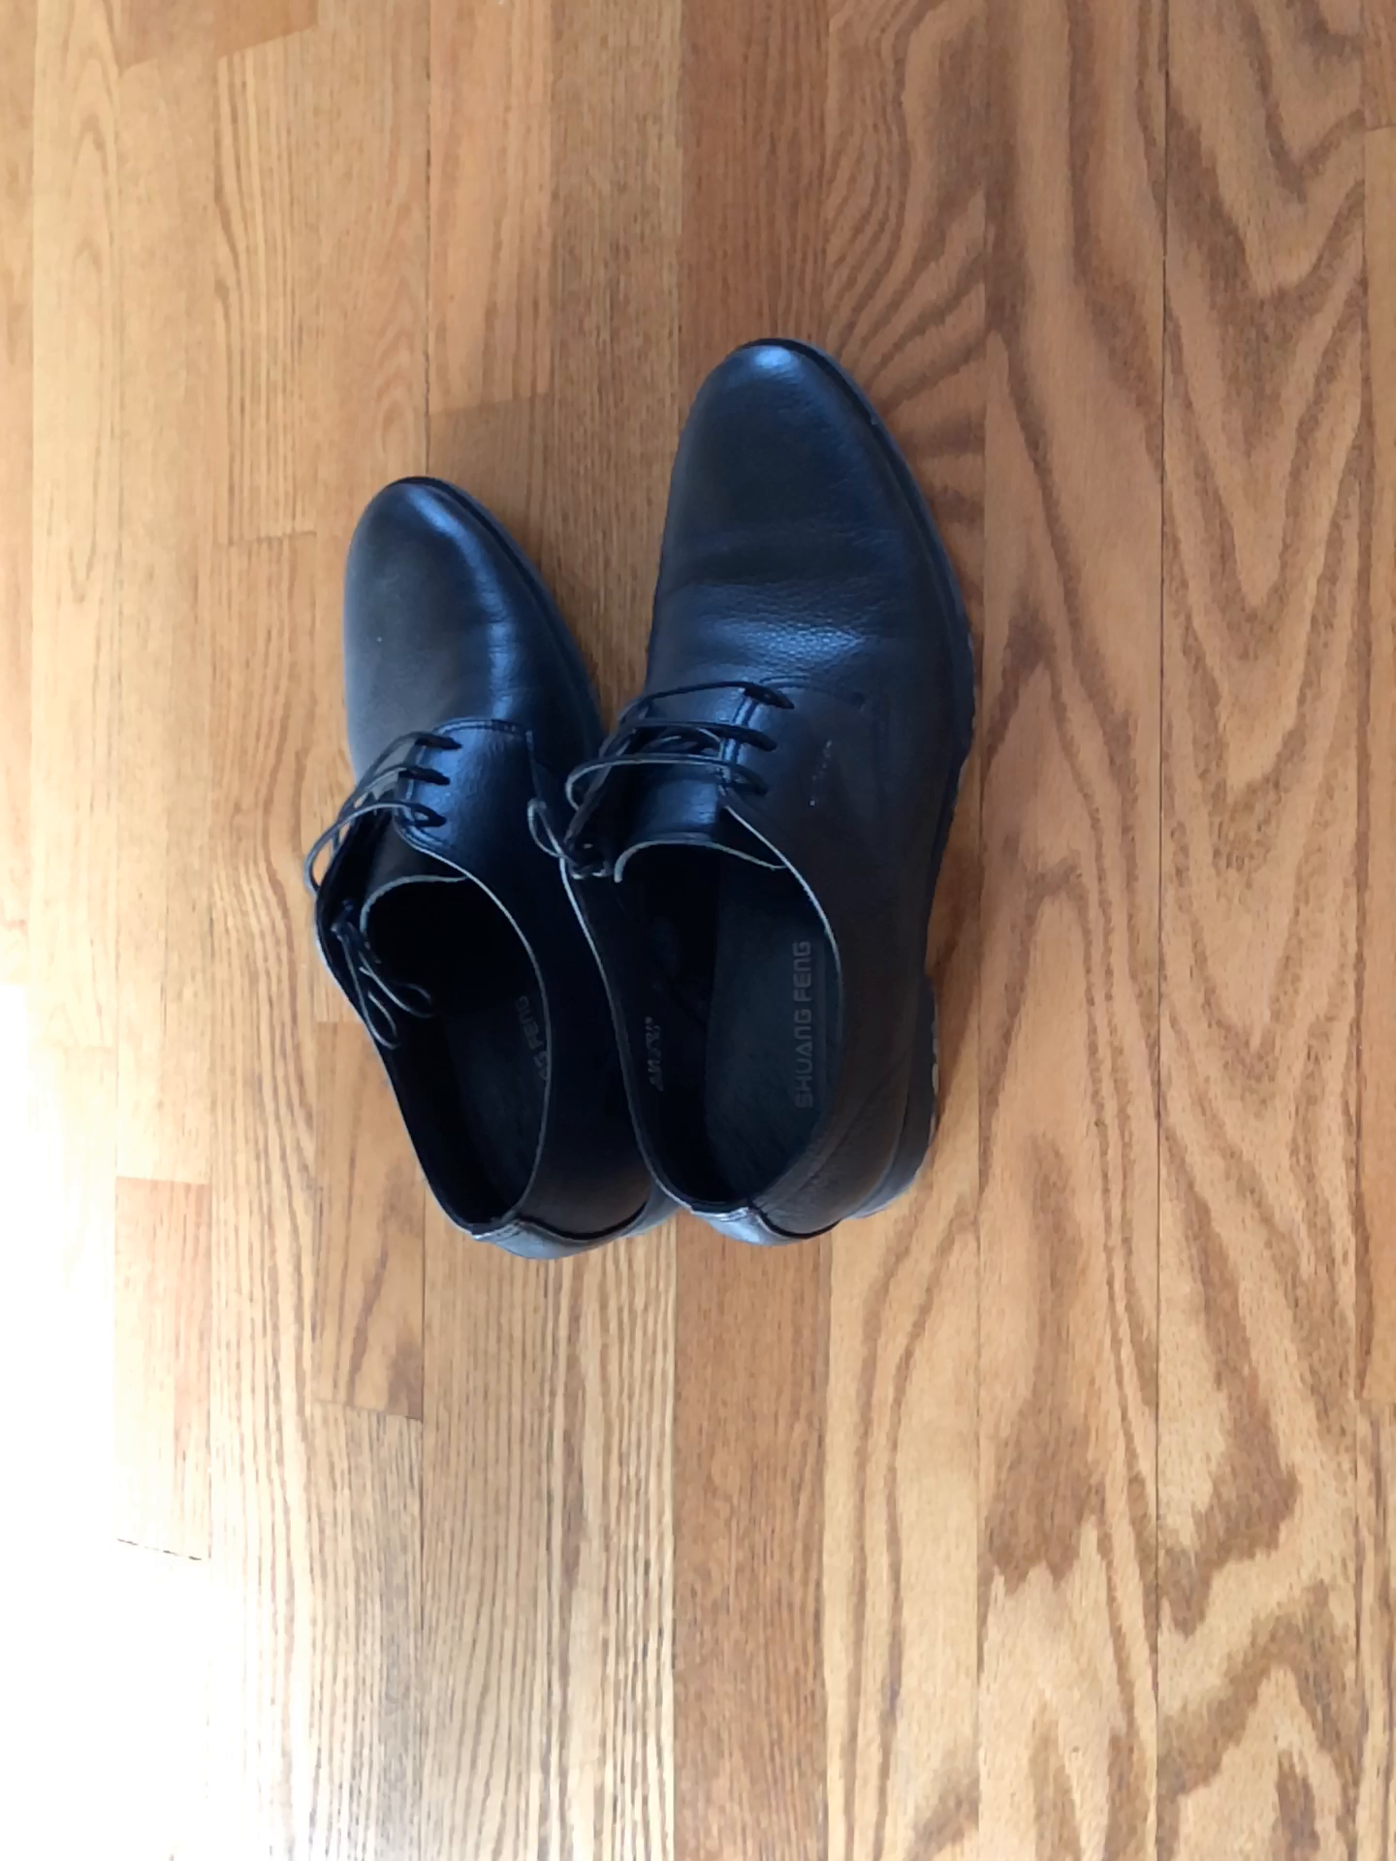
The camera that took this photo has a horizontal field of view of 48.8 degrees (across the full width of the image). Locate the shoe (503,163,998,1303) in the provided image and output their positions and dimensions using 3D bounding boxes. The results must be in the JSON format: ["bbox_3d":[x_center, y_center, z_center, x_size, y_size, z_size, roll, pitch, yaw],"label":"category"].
[{"bbox_3d":[0.020,-0.051,0.482,0.110,0.124,0.299,-1,88,28],"label":"shoe"}]

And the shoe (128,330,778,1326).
[{"bbox_3d":[-0.087,-0.032,0.553,0.110,0.124,0.304,-20,79,26],"label":"shoe"}]
